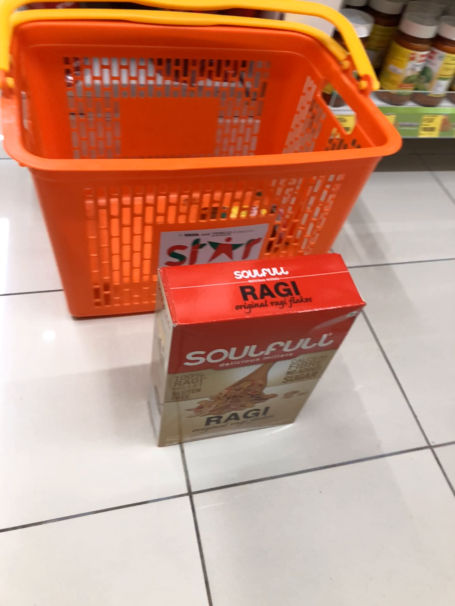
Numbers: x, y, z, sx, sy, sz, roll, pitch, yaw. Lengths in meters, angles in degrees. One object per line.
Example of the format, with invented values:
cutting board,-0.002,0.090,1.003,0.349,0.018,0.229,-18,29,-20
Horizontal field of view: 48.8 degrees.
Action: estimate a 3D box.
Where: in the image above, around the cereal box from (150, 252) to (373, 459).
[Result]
cereal box,0.015,0.062,0.500,0.170,0.238,0.060,-6,52,-16
